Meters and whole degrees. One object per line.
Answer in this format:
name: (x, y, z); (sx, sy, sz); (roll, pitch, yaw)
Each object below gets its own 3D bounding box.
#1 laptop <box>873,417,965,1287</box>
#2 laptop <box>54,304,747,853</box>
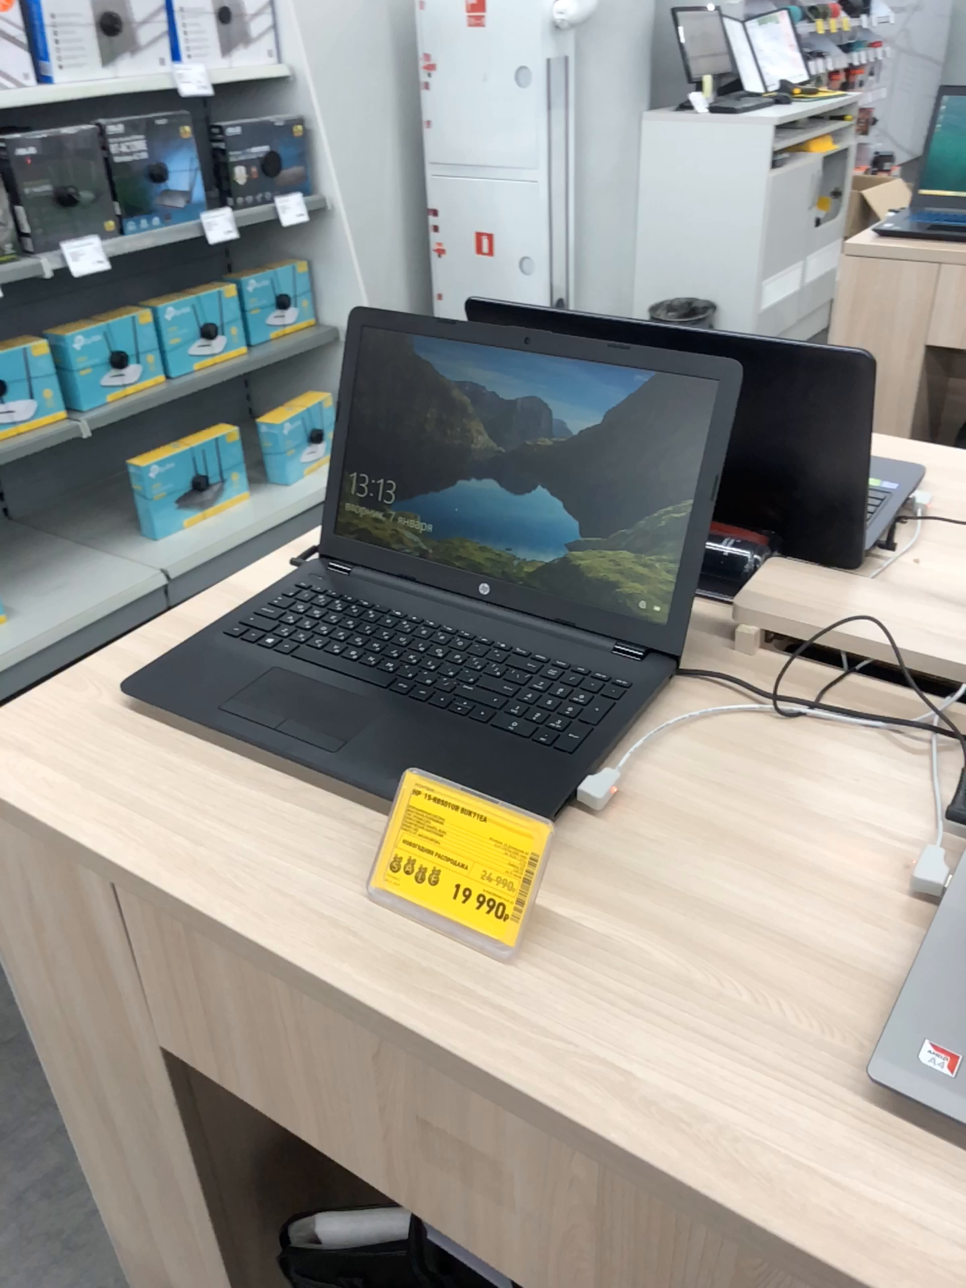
laptop: (0.441, 0.088, 0.478); (0.371, 0.226, 0.340); (19, 38, 33)
laptop: (-0.047, -0.092, 0.826); (0.377, 0.217, 0.342); (17, 37, 29)
